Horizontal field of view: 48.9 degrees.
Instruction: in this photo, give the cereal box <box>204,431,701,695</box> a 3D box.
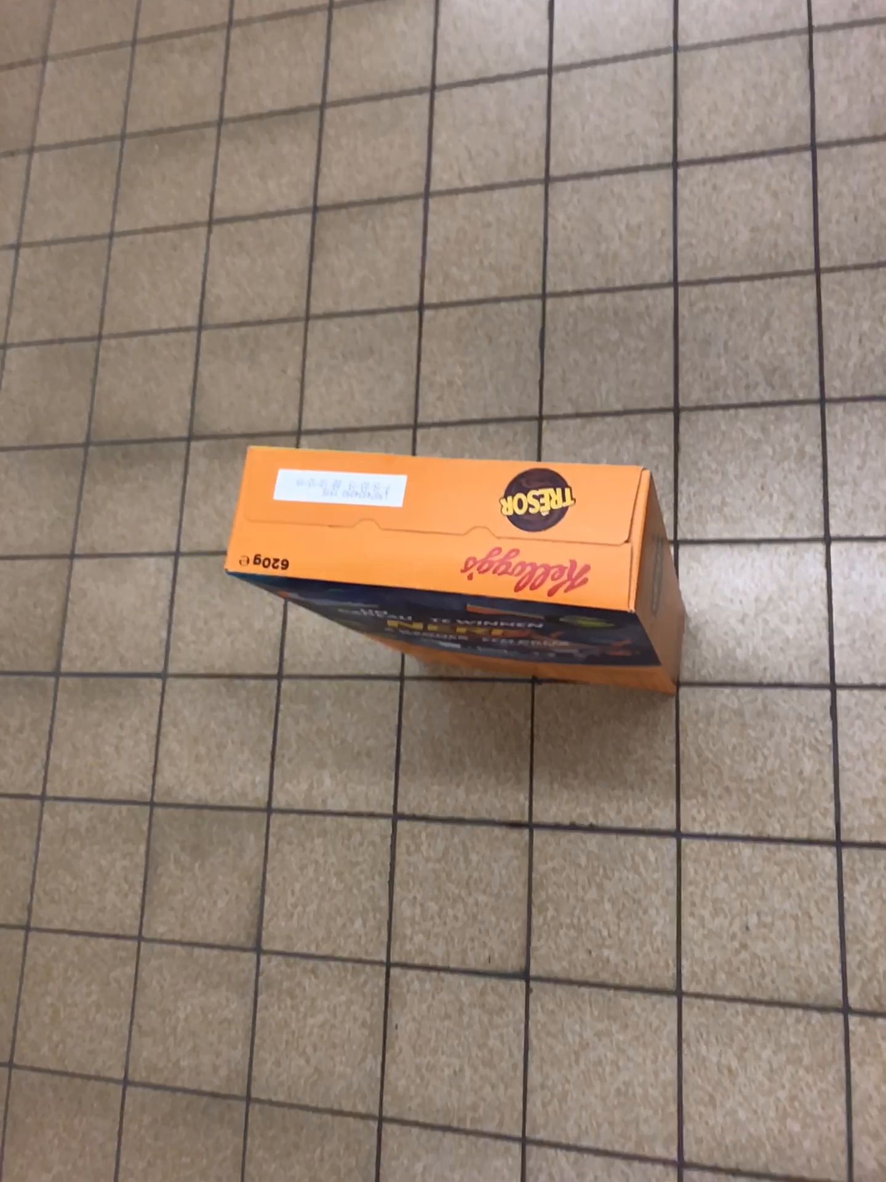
[{"bbox_3d":[0.034,-0.003,0.565,0.210,0.290,0.070,6,80,17],"label":"cereal box"}]
